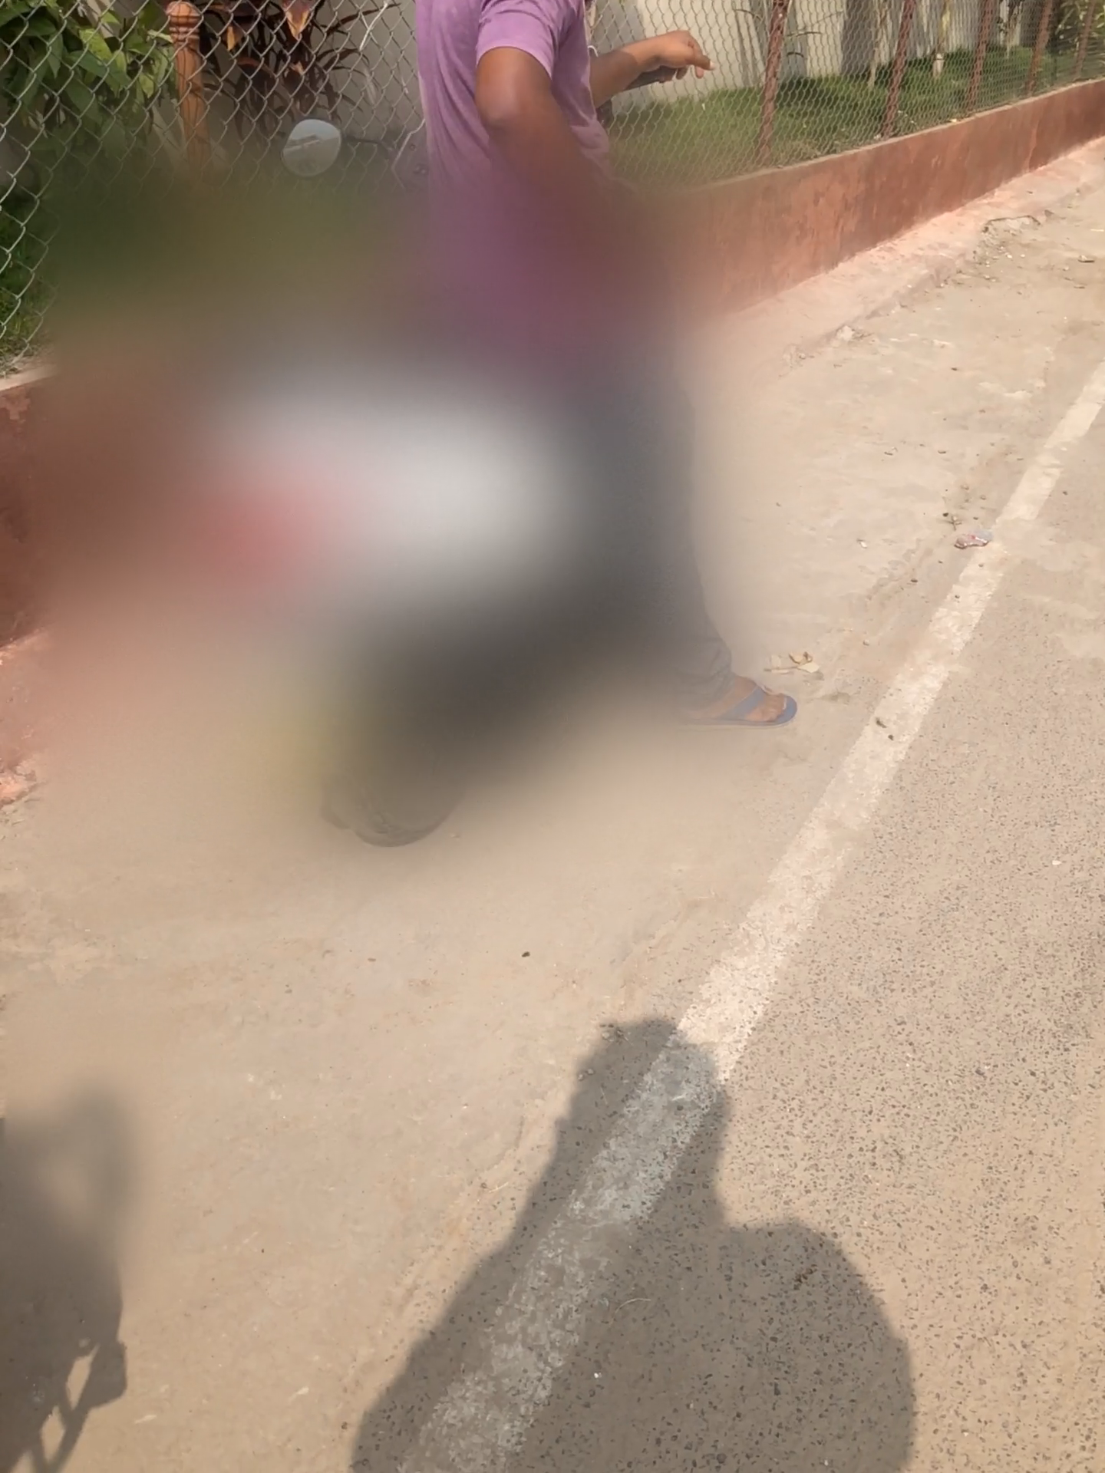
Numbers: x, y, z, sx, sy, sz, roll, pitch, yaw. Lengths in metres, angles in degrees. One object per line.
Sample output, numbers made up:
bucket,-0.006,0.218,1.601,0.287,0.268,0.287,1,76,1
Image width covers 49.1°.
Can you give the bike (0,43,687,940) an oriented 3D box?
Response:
bike,-0.232,-0.620,2.304,0.617,1.113,1.562,10,34,13
